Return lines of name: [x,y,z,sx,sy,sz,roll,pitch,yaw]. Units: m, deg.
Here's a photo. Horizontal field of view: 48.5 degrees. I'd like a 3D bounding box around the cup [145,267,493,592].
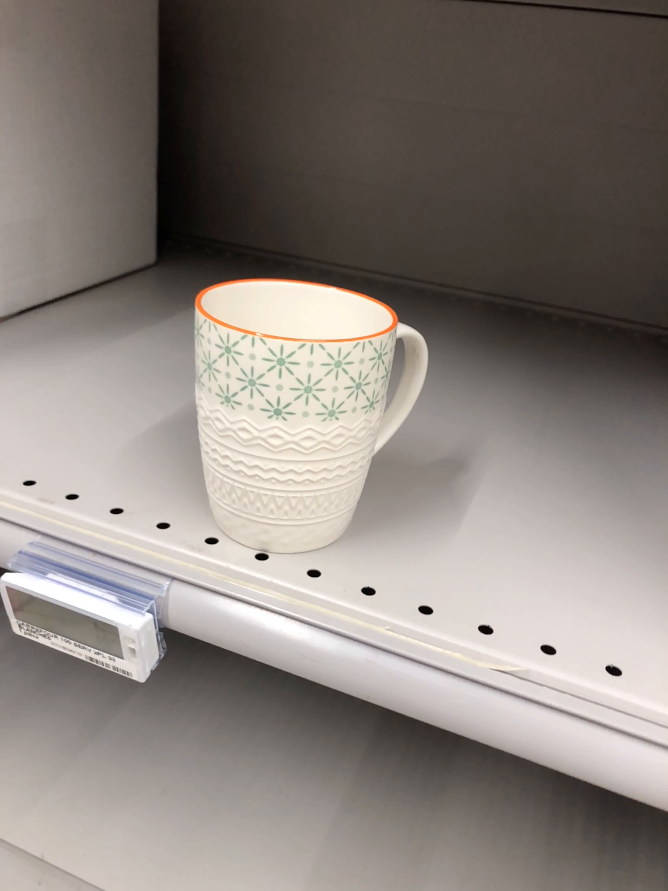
cup: [-0.008,-0.018,0.338,0.118,0.100,0.092,-16,30,-36]
